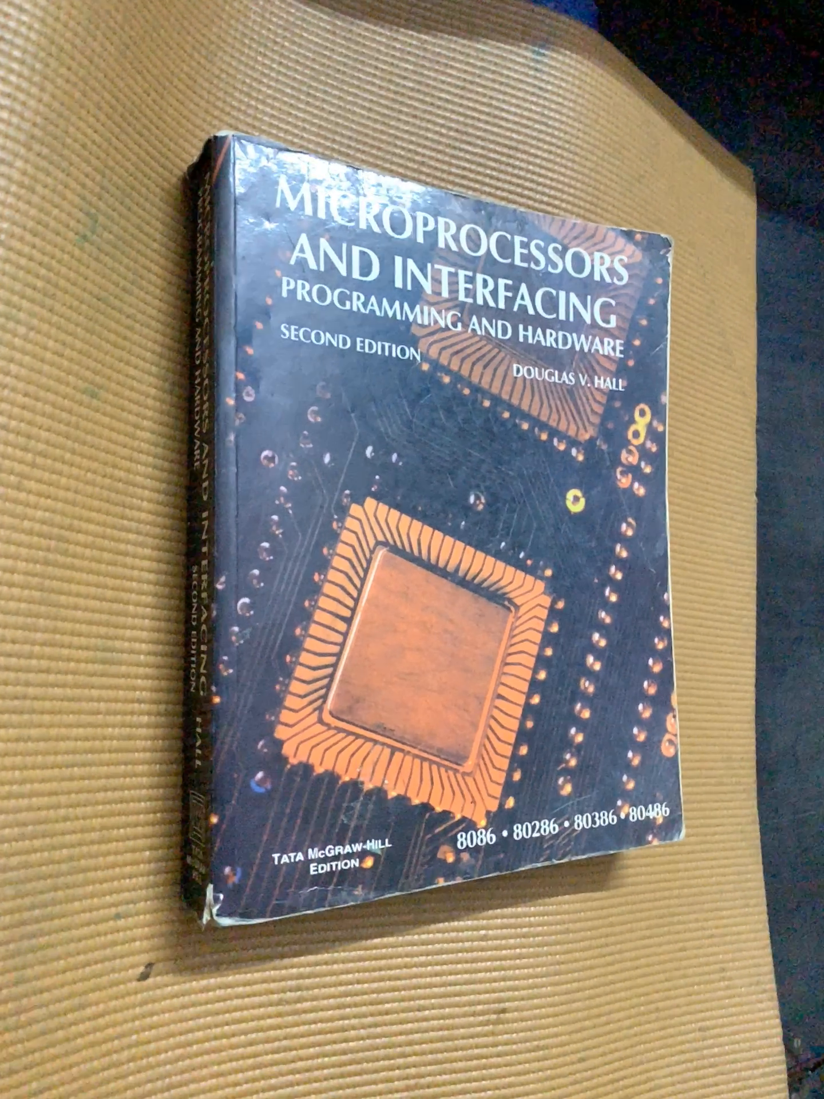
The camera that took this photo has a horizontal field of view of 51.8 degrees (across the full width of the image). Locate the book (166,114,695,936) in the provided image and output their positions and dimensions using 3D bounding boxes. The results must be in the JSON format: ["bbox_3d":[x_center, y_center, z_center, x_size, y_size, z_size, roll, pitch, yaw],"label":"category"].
[{"bbox_3d":[0.018,-0.011,0.431,0.260,0.060,0.338,3,84,-26],"label":"book"}]
